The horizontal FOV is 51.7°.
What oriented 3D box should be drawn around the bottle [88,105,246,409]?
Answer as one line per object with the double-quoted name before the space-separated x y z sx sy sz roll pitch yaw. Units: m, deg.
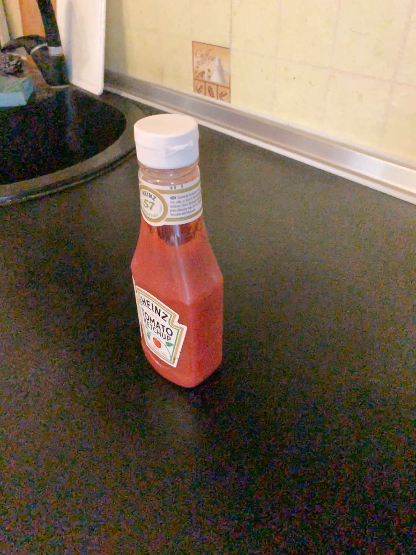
"bottle" -0.021 -0.004 0.287 0.070 0.189 0.050 31 49 33
